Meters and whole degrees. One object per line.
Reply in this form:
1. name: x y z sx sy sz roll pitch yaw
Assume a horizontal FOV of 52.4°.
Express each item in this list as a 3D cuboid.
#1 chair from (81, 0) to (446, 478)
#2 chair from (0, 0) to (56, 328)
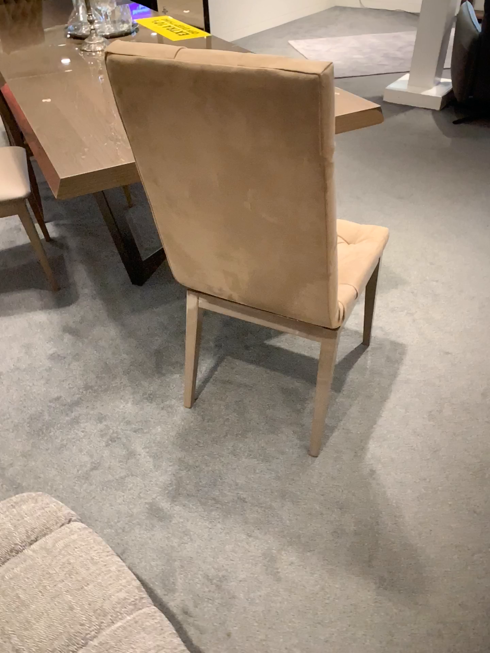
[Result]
1. chair: 0.102 -0.240 1.324 0.524 1.021 0.641 15 43 20
2. chair: -1.189 -0.612 1.890 0.636 1.021 0.528 -12 41 -11
